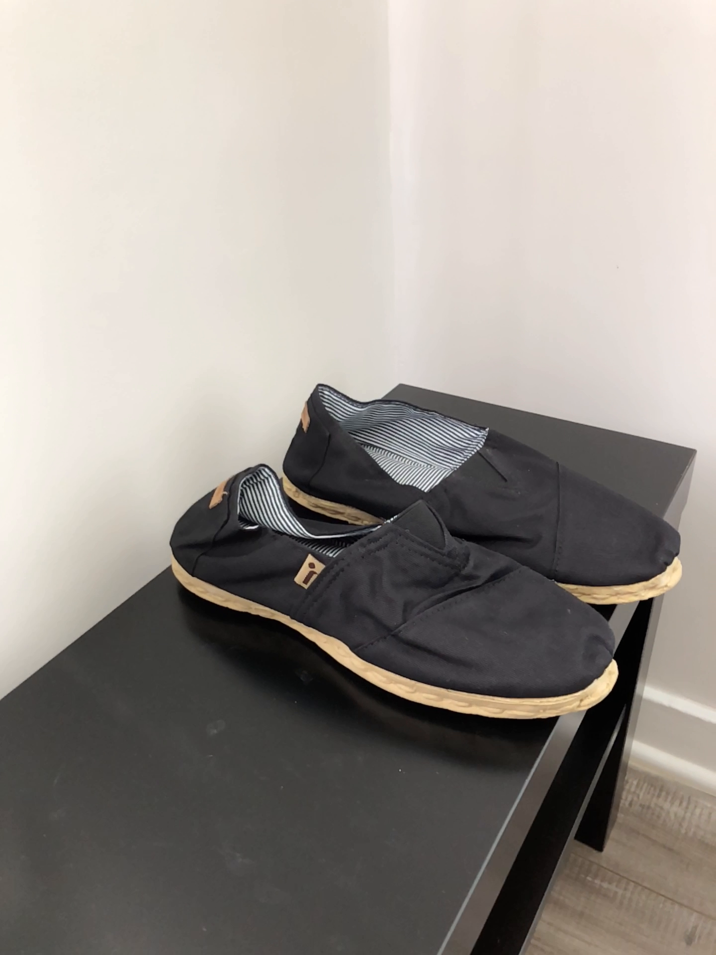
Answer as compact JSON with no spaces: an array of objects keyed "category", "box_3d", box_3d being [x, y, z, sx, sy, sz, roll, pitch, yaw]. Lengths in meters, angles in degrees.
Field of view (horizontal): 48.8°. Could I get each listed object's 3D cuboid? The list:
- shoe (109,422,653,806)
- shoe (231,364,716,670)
[{"category":"shoe","box_3d":[0.004,0.057,0.438,0.275,0.080,0.101,17,37,28]},{"category":"shoe","box_3d":[0.063,0.010,0.499,0.275,0.080,0.101,17,37,28]}]
